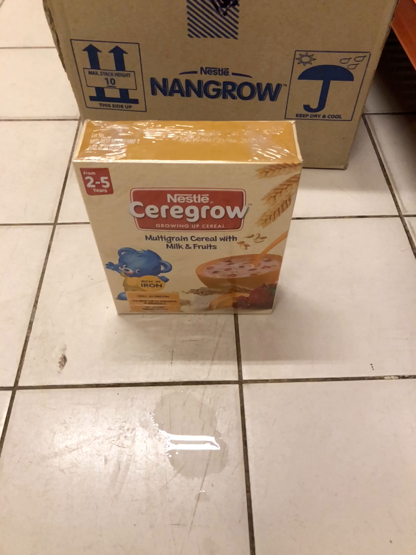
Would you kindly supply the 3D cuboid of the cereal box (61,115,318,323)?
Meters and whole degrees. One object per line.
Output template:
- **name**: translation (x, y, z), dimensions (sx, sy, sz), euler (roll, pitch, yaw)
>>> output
- **cereal box**: translation (-0.011, -0.034, 0.377), dimensions (0.160, 0.189, 0.050), euler (-1, 53, 0)
